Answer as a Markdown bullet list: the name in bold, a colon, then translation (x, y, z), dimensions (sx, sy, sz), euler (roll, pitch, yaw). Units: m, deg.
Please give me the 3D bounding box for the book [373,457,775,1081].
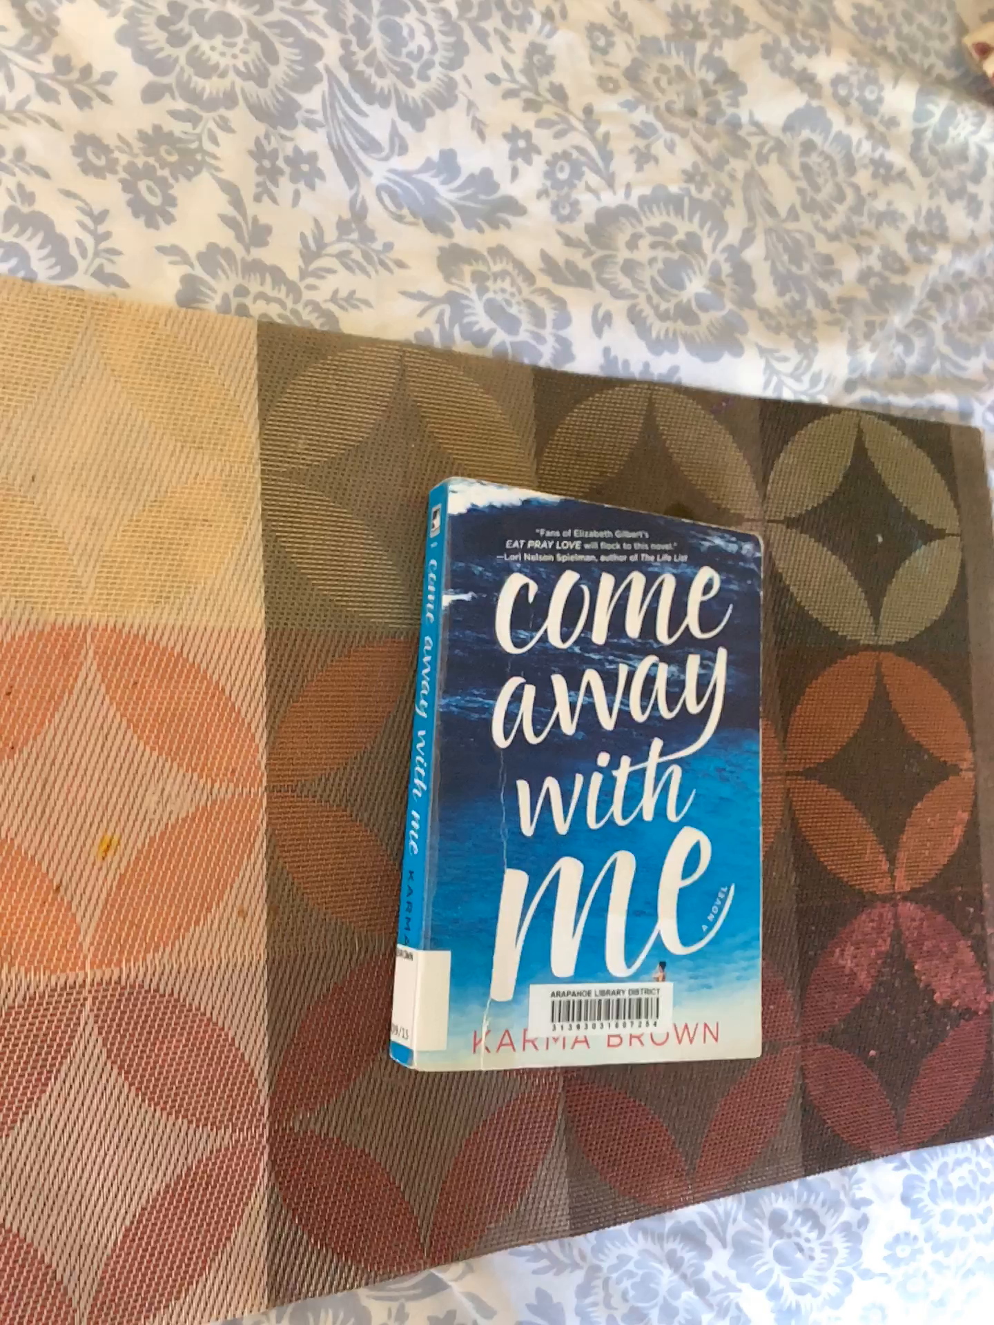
- **book**: translation (0.033, 0.039, 0.368), dimensions (0.135, 0.030, 0.200), euler (7, 81, -21)
